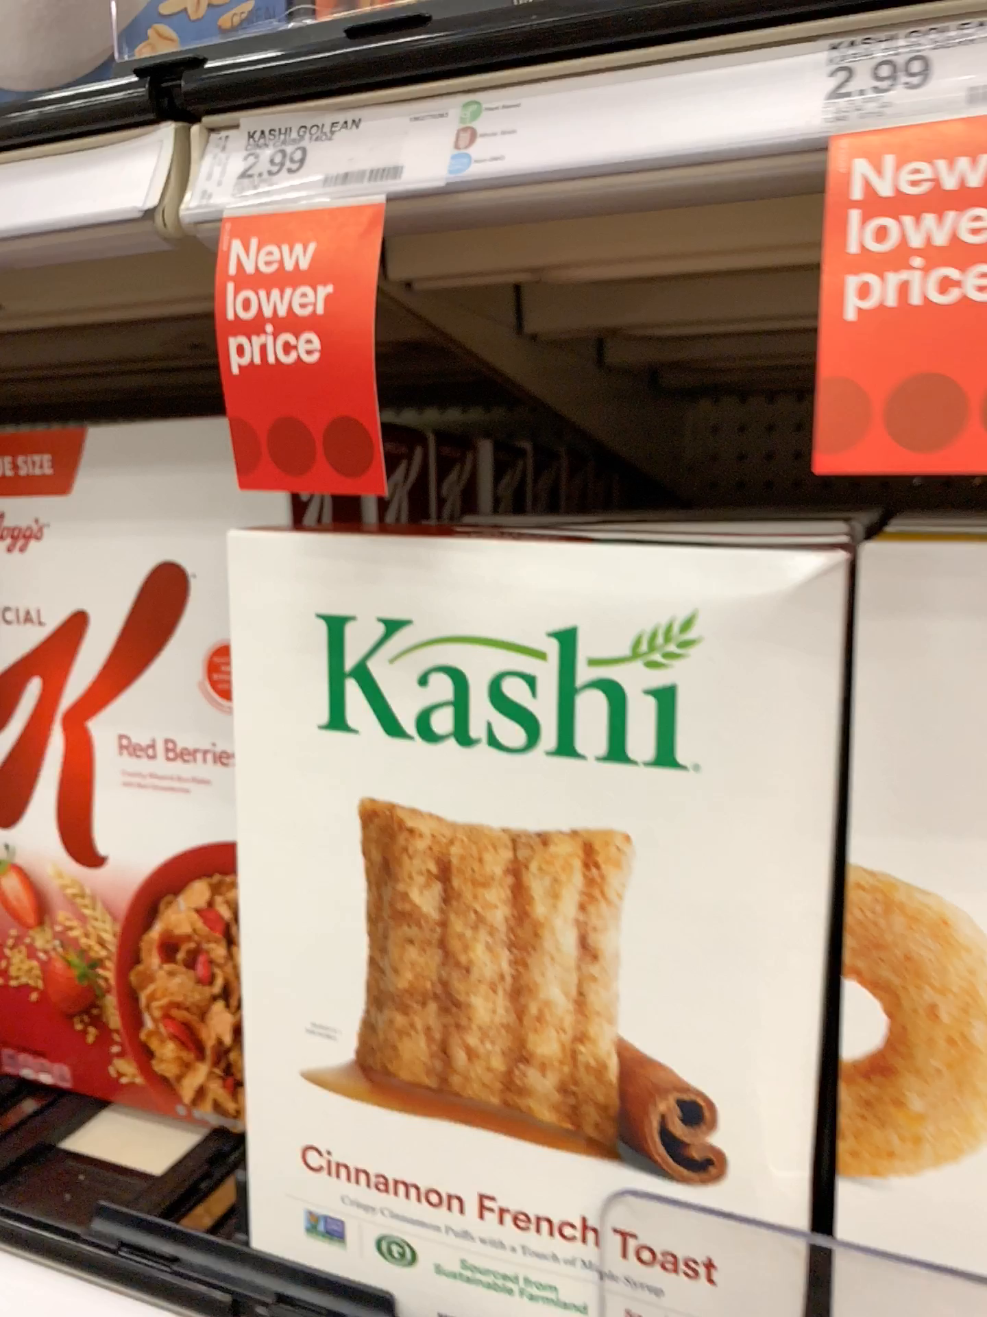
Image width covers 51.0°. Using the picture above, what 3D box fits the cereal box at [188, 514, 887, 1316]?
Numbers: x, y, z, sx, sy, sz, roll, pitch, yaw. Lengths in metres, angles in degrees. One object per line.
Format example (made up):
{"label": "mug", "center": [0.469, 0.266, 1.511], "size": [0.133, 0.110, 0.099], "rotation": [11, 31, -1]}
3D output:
{"label": "cereal box", "center": [0.010, 0.089, 0.341], "size": [0.210, 0.270, 0.060], "rotation": [3, 9, 23]}
